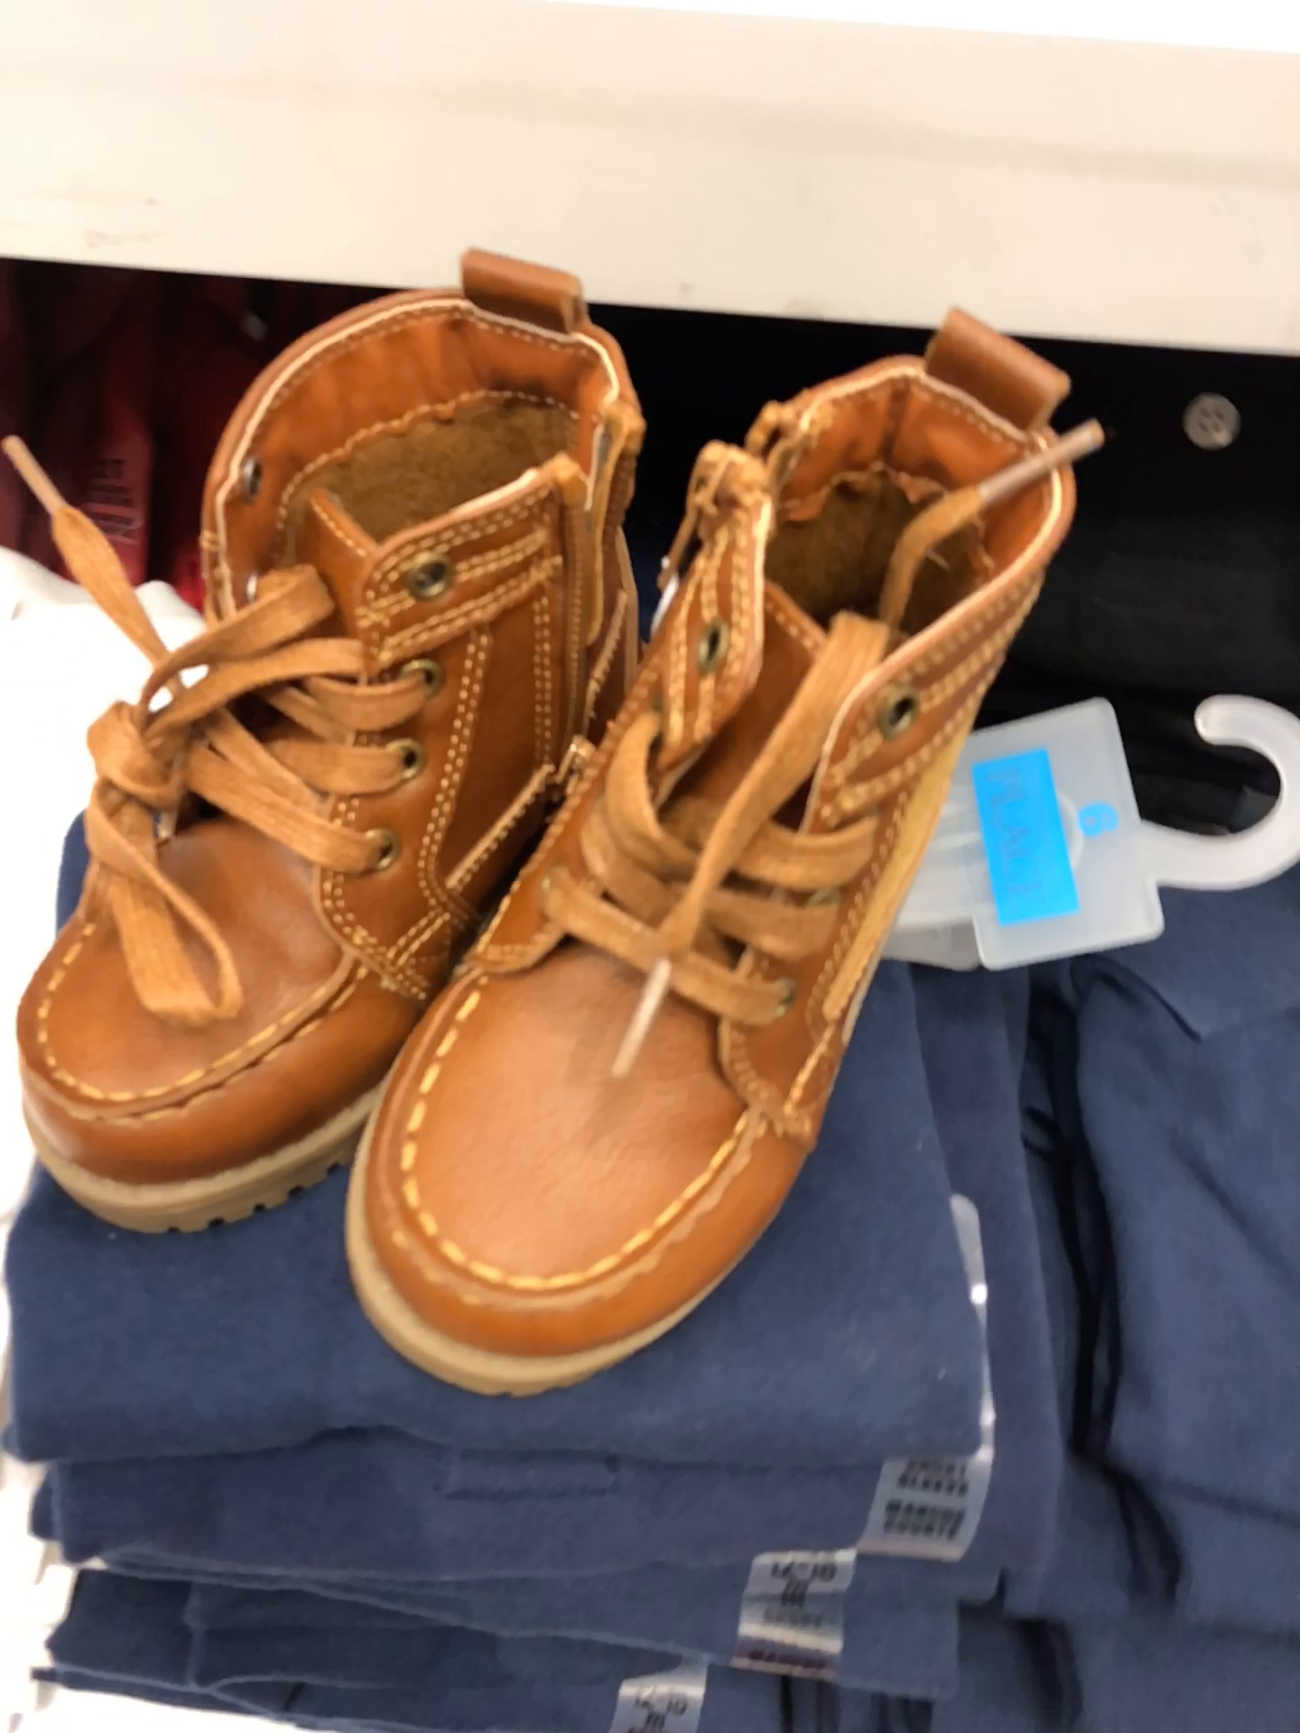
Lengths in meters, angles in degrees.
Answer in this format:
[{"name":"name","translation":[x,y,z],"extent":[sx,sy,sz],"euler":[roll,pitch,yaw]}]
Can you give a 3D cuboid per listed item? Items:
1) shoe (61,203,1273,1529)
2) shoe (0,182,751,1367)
[{"name":"shoe","translation":[0.010,-0.002,0.221],"extent":[0.080,0.101,0.161],"euler":[30,60,11]},{"name":"shoe","translation":[-0.062,-0.019,0.235],"extent":[0.080,0.101,0.151],"euler":[32,61,24]}]
